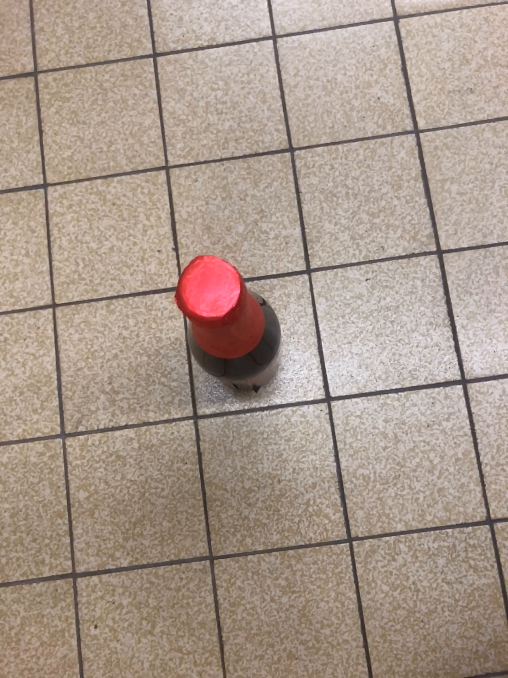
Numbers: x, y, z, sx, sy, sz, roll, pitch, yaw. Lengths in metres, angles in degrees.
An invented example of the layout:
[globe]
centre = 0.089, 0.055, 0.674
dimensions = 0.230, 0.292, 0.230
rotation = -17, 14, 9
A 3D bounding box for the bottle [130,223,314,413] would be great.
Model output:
[bottle]
centre = -0.008, 0.004, 0.319
dimensions = 0.060, 0.200, 0.060
rotation = 0, 82, 3
